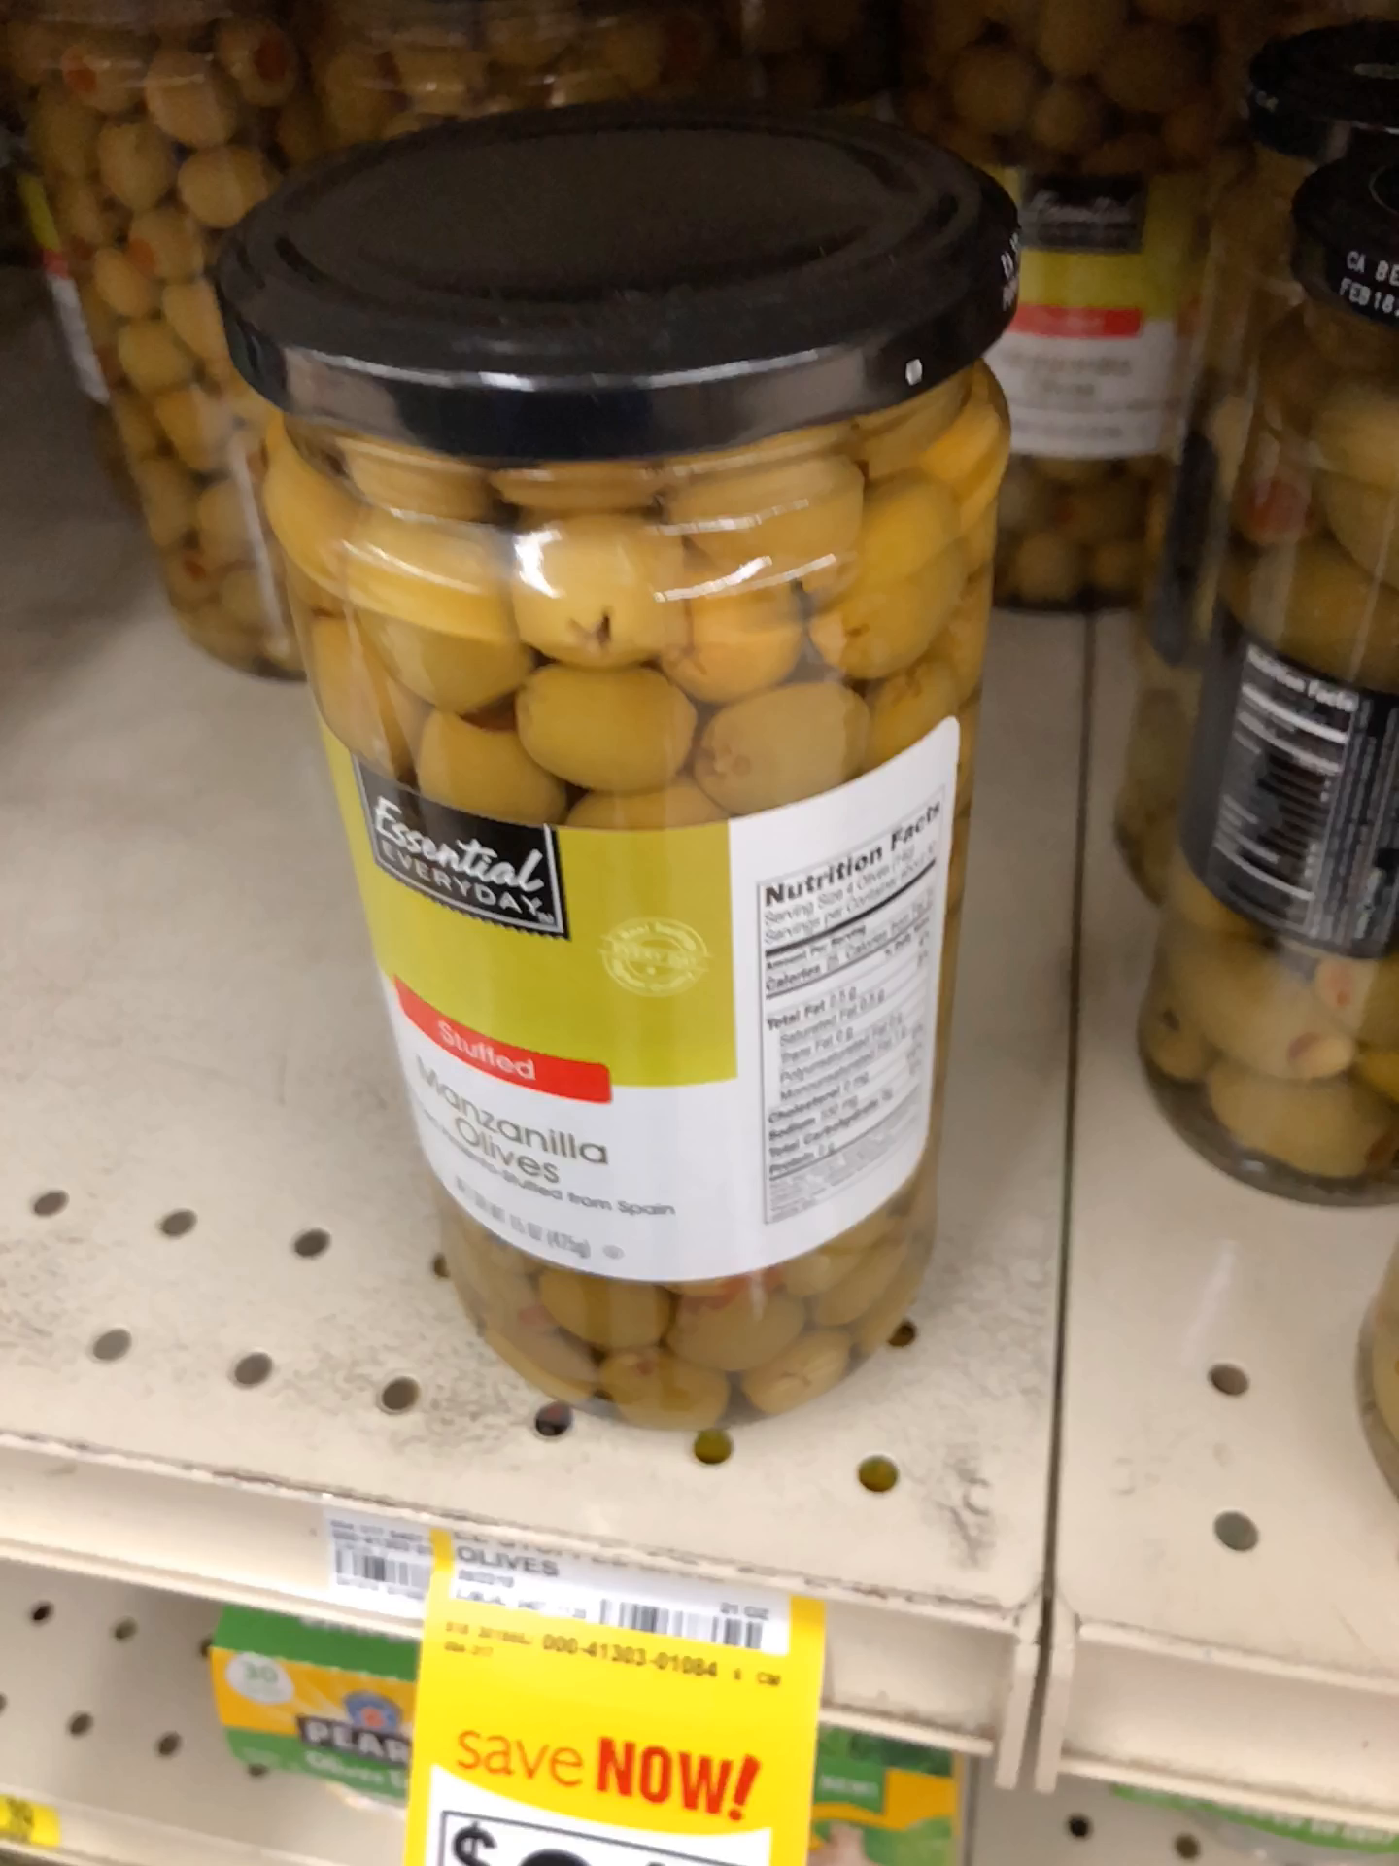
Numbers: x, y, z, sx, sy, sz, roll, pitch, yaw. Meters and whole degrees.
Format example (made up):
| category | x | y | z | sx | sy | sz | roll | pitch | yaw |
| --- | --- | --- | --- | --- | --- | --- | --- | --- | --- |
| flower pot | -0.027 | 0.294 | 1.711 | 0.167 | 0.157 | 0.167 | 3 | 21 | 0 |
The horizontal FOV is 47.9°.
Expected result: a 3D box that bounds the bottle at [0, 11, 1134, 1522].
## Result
| category | x | y | z | sx | sy | sz | roll | pitch | yaw |
| --- | --- | --- | --- | --- | --- | --- | --- | --- | --- |
| bottle | -0.007 | -0.013 | 0.200 | 0.080 | 0.163 | 0.070 | 21 | 48 | 25 |
